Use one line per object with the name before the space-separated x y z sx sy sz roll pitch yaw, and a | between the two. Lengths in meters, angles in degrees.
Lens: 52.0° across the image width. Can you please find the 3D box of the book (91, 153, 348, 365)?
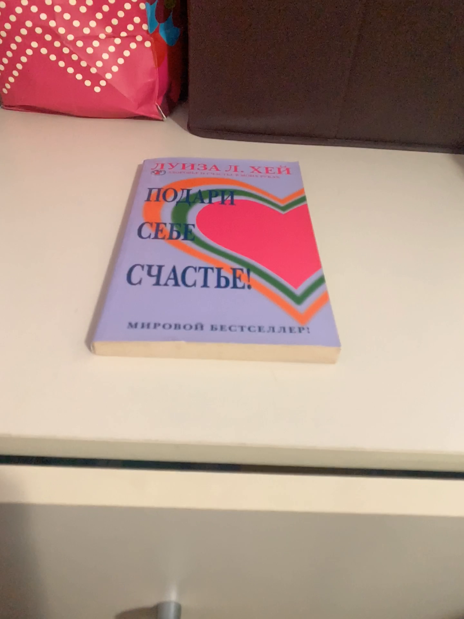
book | -0.007 -0.046 0.304 0.123 0.016 0.195 2 43 -3
